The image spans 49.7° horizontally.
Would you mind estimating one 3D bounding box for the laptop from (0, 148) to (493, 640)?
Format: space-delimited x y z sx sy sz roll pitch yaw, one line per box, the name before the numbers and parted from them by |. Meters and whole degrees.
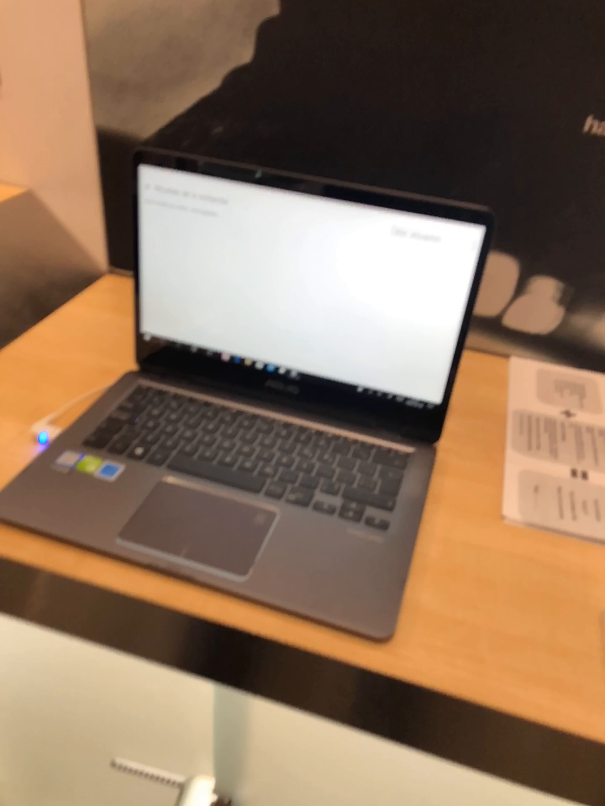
laptop | -0.048 -0.031 0.511 0.320 0.224 0.240 14 36 12
